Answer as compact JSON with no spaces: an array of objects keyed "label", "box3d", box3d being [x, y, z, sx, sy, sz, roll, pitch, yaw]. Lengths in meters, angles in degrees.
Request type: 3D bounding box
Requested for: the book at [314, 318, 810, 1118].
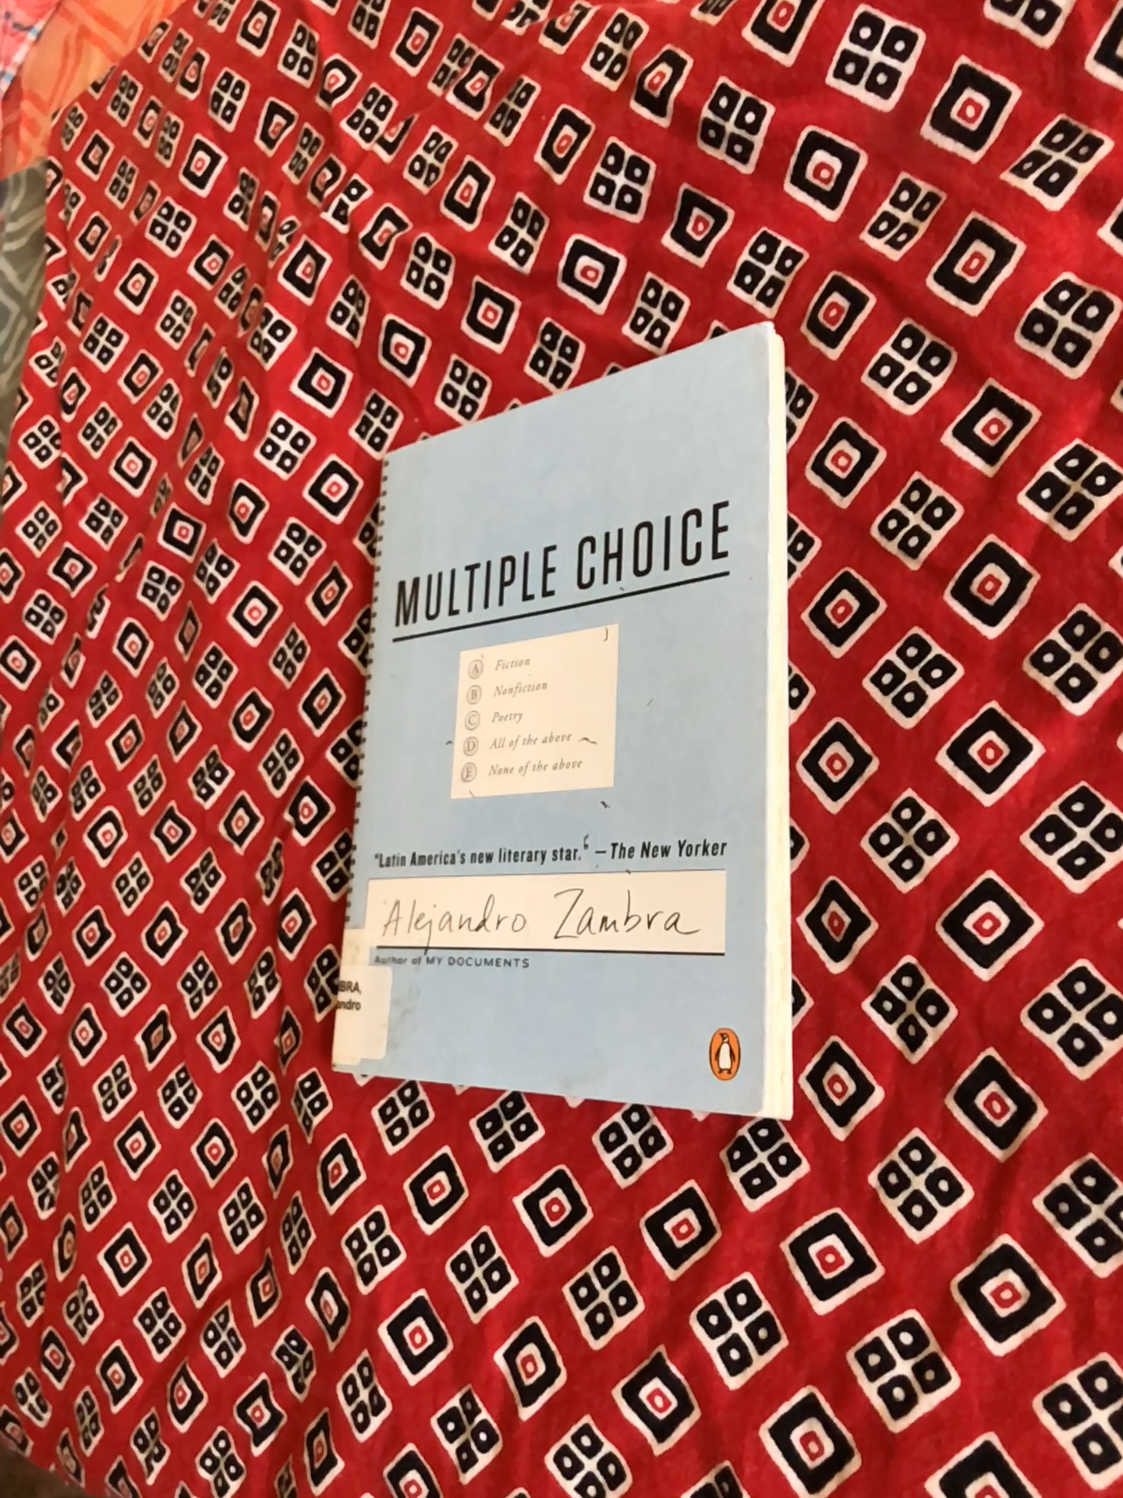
[{"label":"book","box3d":[-0.003,-0.004,0.316,0.134,0.020,0.176,-6,76,37]}]
